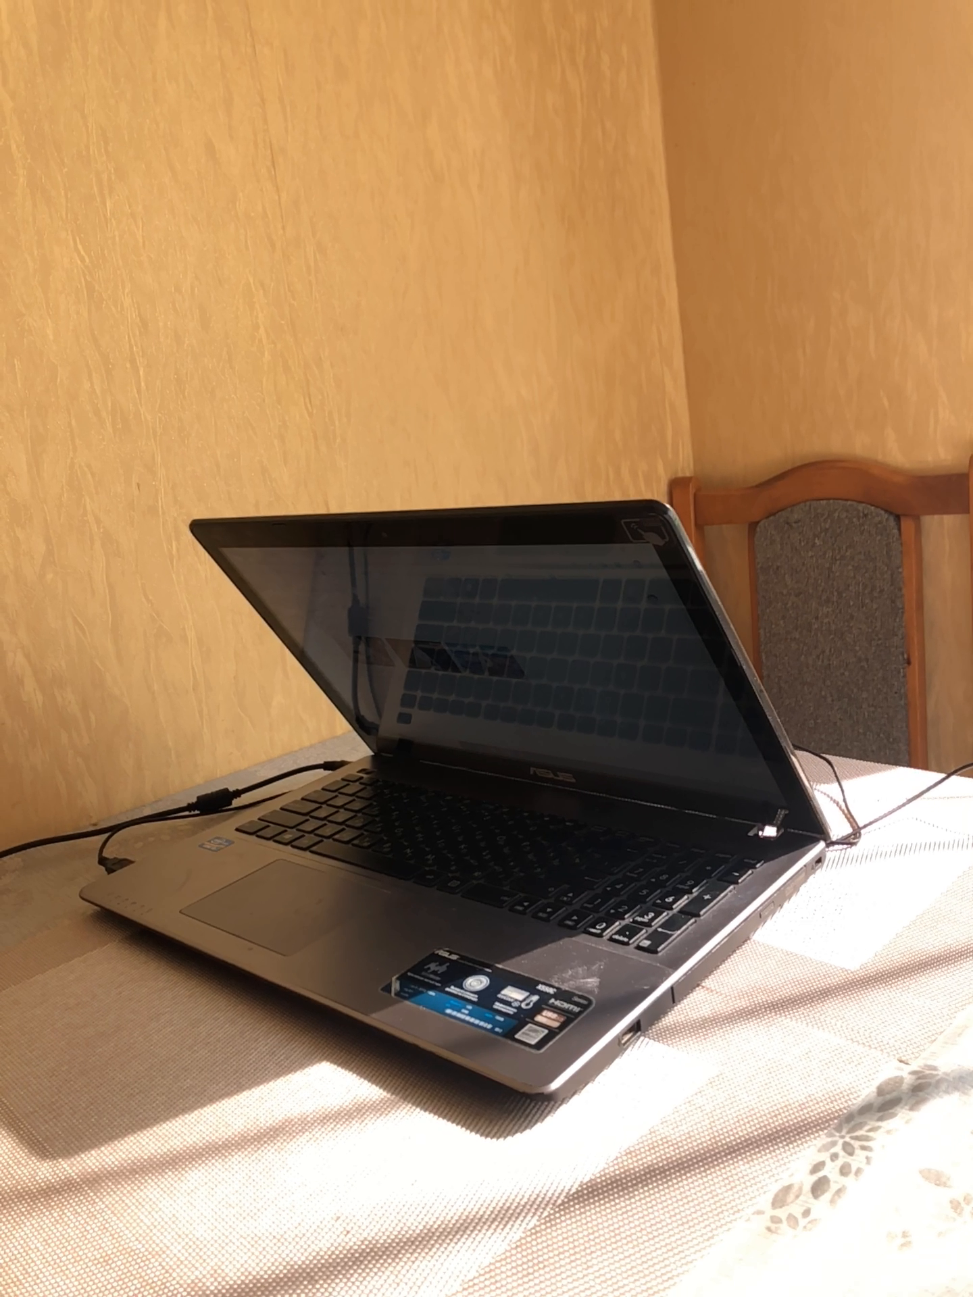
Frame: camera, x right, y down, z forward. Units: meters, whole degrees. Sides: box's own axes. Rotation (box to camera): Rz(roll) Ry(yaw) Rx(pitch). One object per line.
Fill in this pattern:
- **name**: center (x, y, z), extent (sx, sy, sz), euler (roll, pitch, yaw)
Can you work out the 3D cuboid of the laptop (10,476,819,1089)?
- **laptop**: center (-0.048, 0.030, 0.599), extent (0.369, 0.197, 0.243), euler (4, 18, 43)
